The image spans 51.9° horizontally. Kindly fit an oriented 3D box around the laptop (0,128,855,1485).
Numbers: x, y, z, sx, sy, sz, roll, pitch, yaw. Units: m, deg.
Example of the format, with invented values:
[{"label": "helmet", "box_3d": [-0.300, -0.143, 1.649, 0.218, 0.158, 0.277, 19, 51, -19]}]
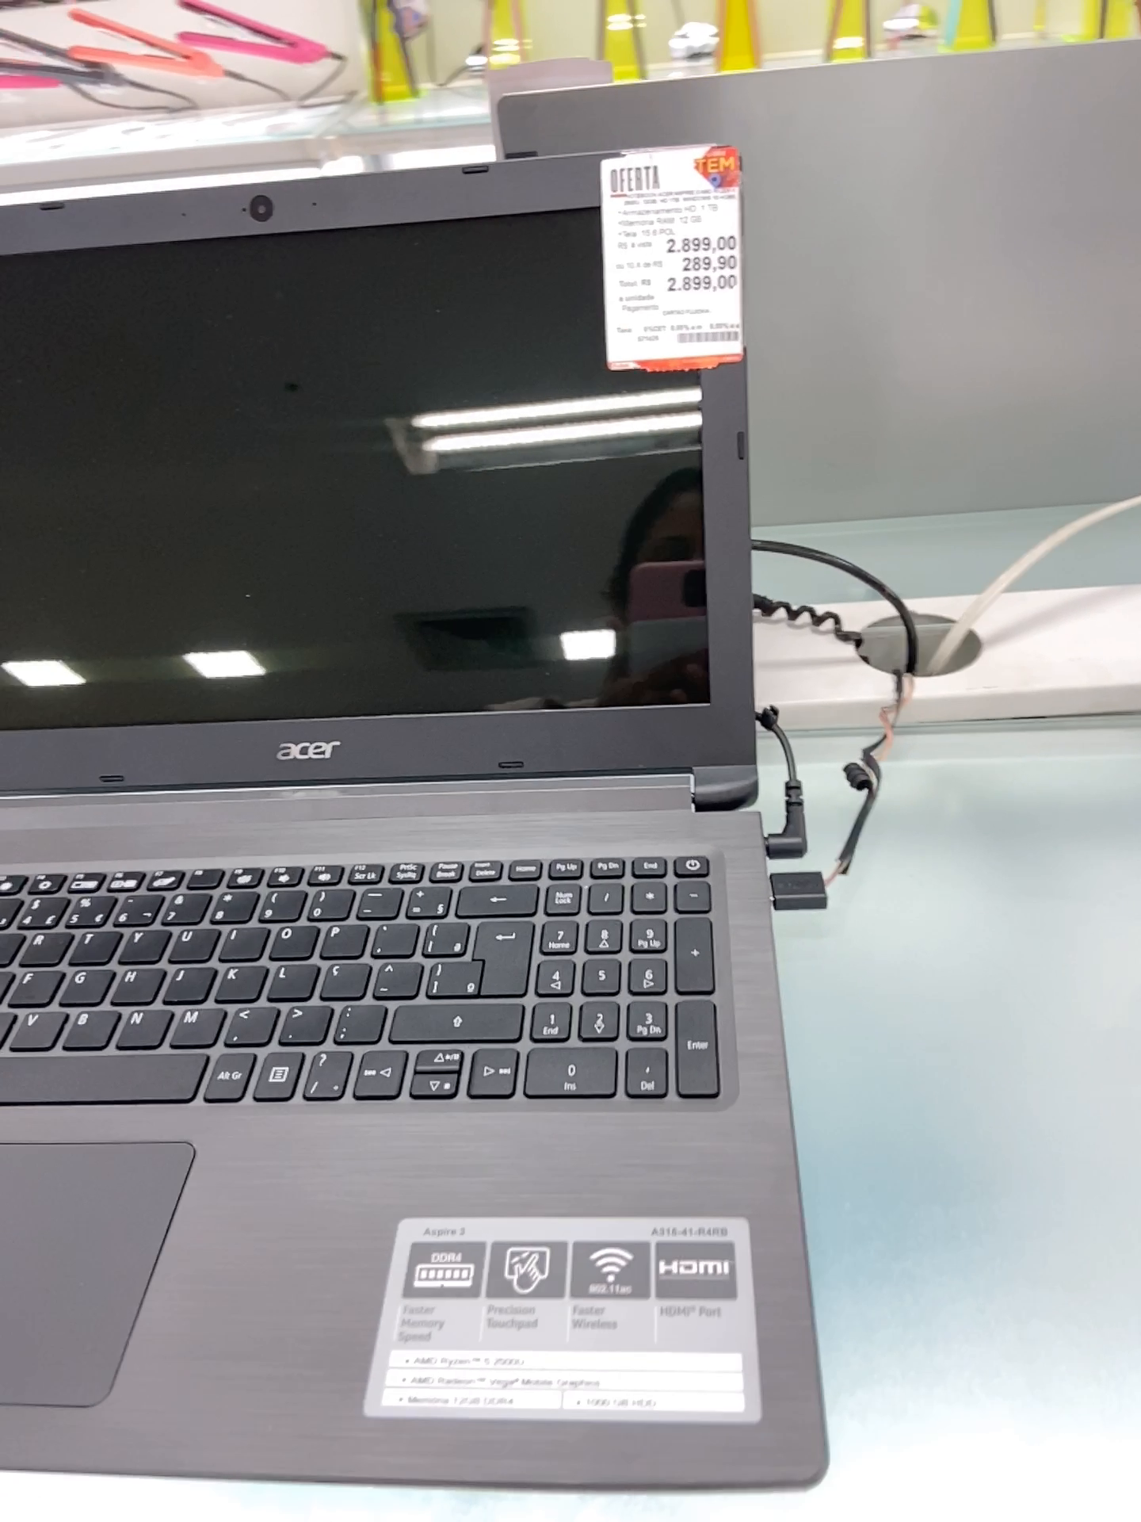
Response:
[{"label": "laptop", "box_3d": [-0.115, -0.029, 0.349, 0.340, 0.194, 0.355, -2, 37, 7]}]
